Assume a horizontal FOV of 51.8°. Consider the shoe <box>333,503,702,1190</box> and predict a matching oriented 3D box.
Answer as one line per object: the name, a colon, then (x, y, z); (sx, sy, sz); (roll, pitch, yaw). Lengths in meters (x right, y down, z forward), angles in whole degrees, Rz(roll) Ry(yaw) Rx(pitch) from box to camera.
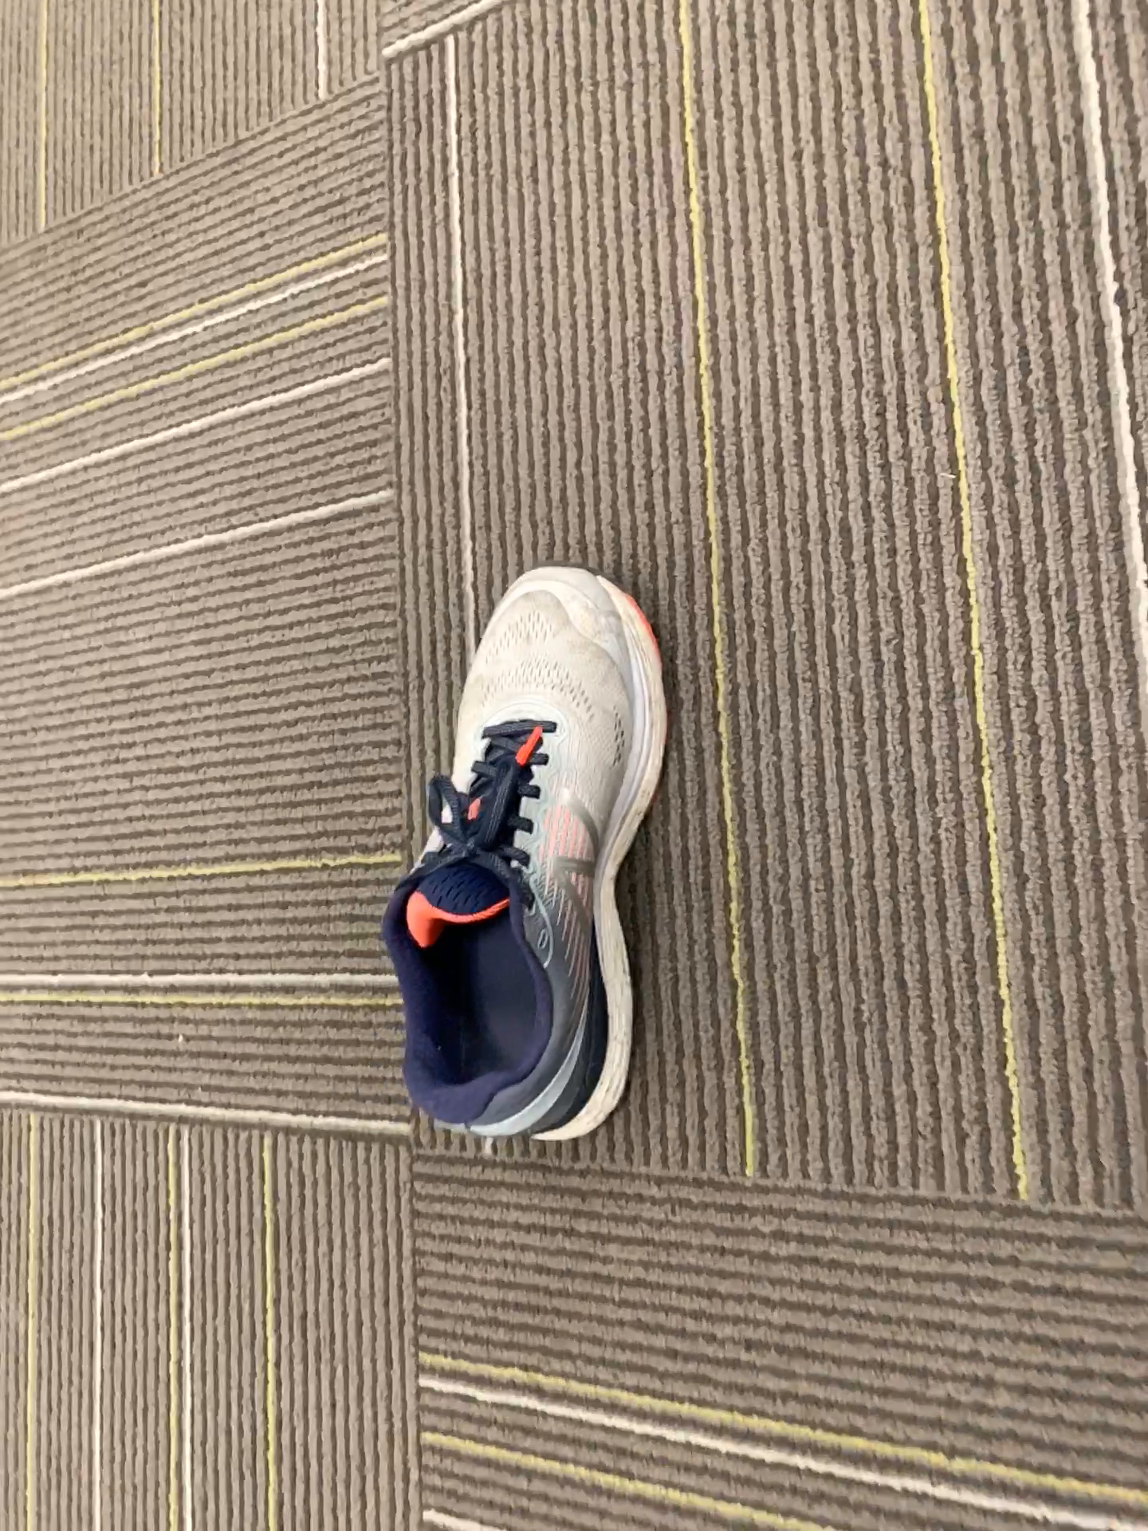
shoe: (-0.026, 0.033, 0.565); (0.131, 0.079, 0.290); (3, 87, 30)
